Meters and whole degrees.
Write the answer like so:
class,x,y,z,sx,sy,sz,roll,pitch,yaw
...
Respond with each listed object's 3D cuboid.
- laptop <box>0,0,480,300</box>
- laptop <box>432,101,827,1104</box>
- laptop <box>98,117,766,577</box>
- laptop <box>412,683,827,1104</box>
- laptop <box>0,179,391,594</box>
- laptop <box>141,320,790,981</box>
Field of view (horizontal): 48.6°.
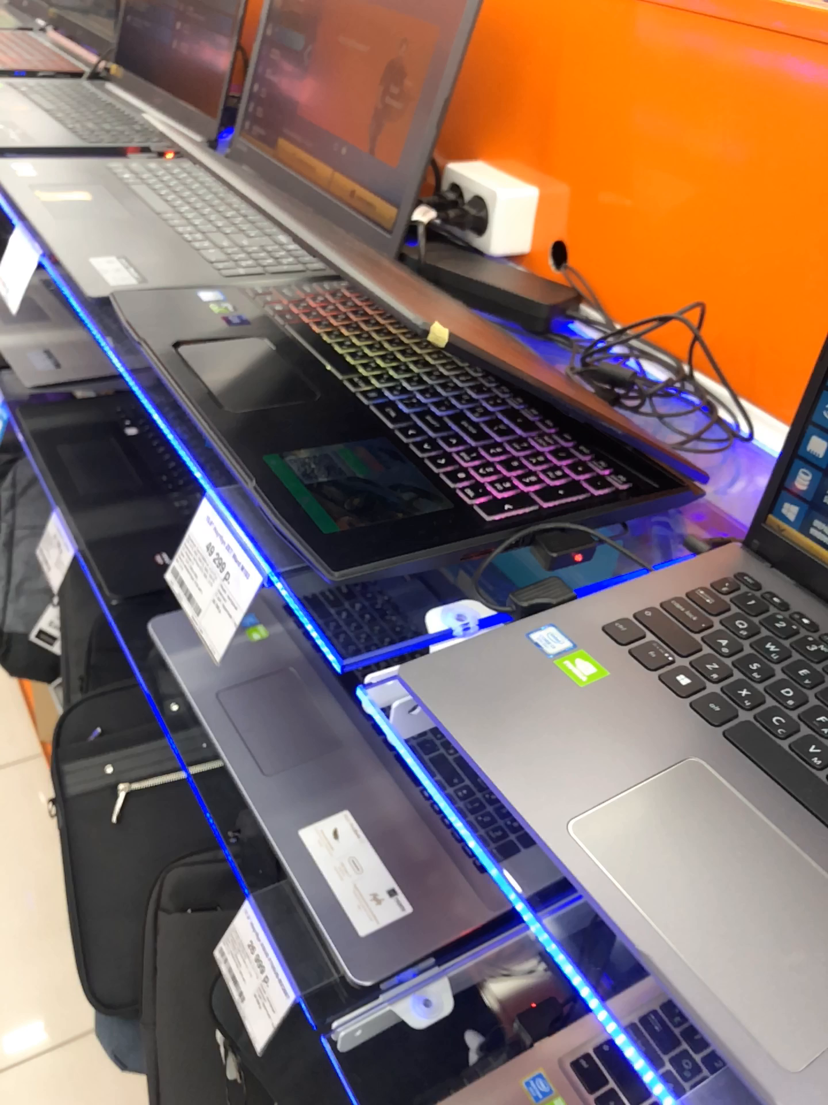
class,x,y,z,sx,sy,sz,roll,pitch,yaw
laptop,-0.181,-0.421,0.817,0.318,0.228,0.360,-15,42,-30
laptop,0.201,0.023,0.273,0.231,0.216,0.353,-17,41,-31
laptop,-0.019,-0.165,0.581,0.244,0.121,0.365,-15,41,-29
laptop,0.200,0.292,0.382,0.230,0.240,0.360,-14,40,-28
laptop,-0.259,-0.207,1.006,0.273,0.270,0.407,-13,40,-29
laptop,-0.003,0.032,0.720,0.287,0.256,0.395,-15,41,-28
